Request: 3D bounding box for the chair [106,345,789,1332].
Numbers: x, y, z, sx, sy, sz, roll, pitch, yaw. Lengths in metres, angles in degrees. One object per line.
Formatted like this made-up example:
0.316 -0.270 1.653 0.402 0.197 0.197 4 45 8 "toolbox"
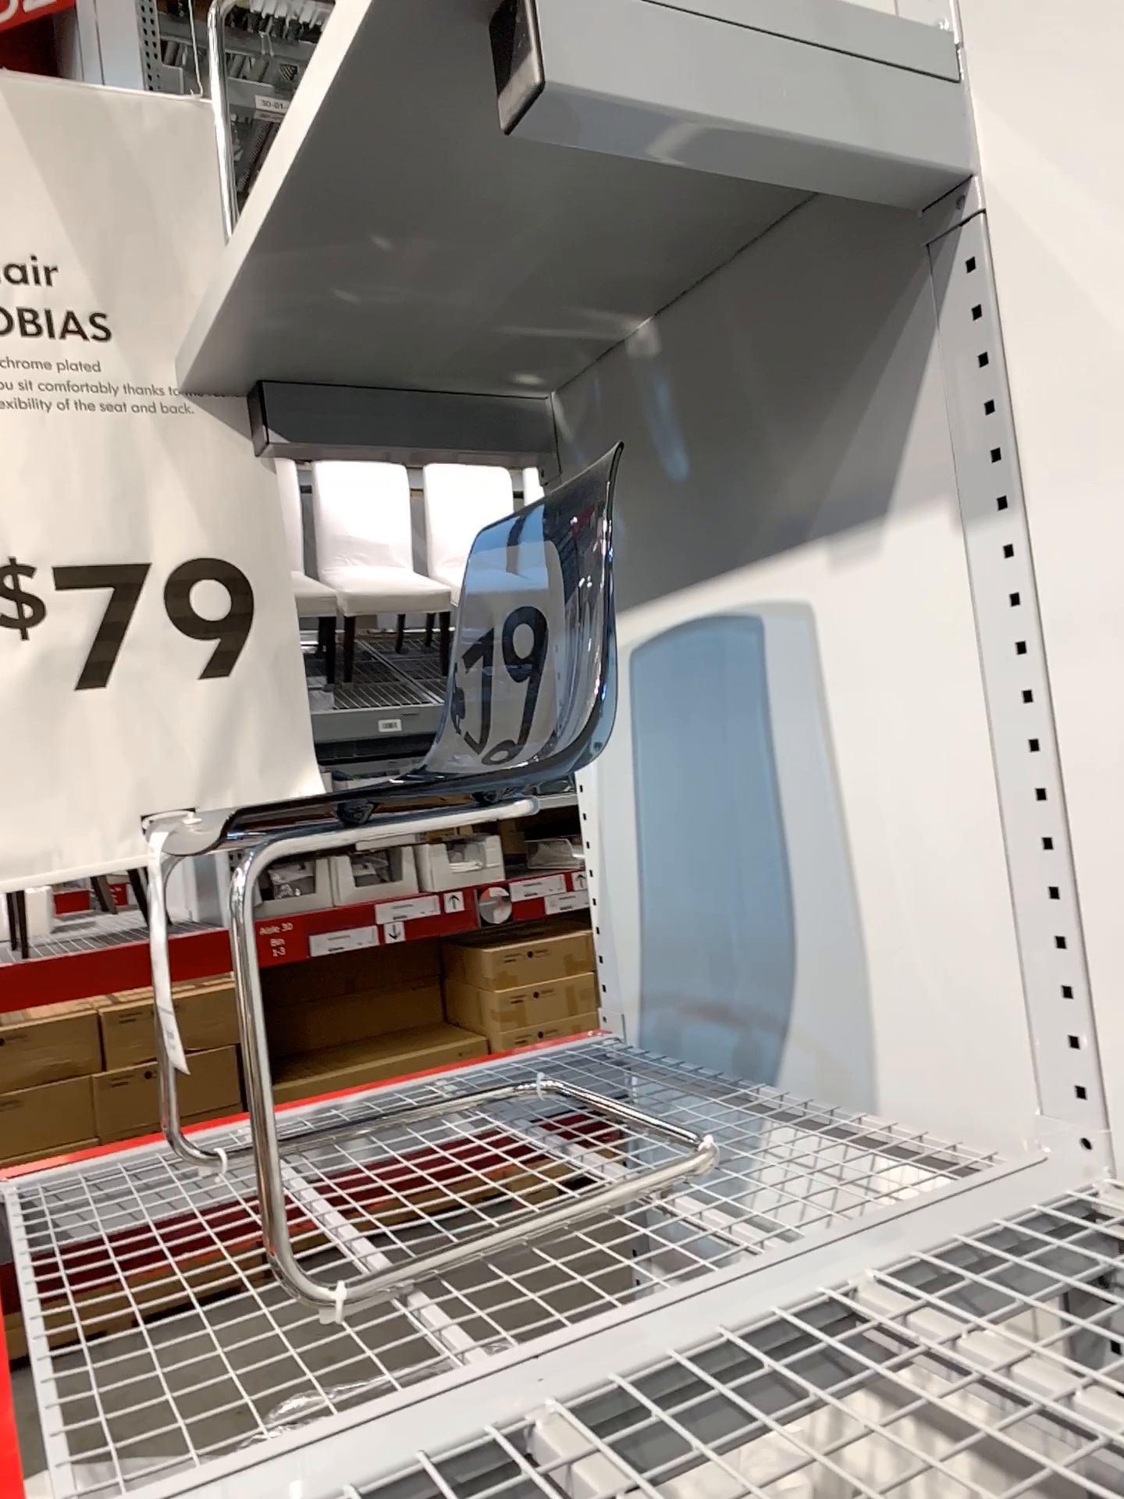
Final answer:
-0.173 0.064 1.331 0.549 0.841 0.530 -5 -3 -27 "chair"
